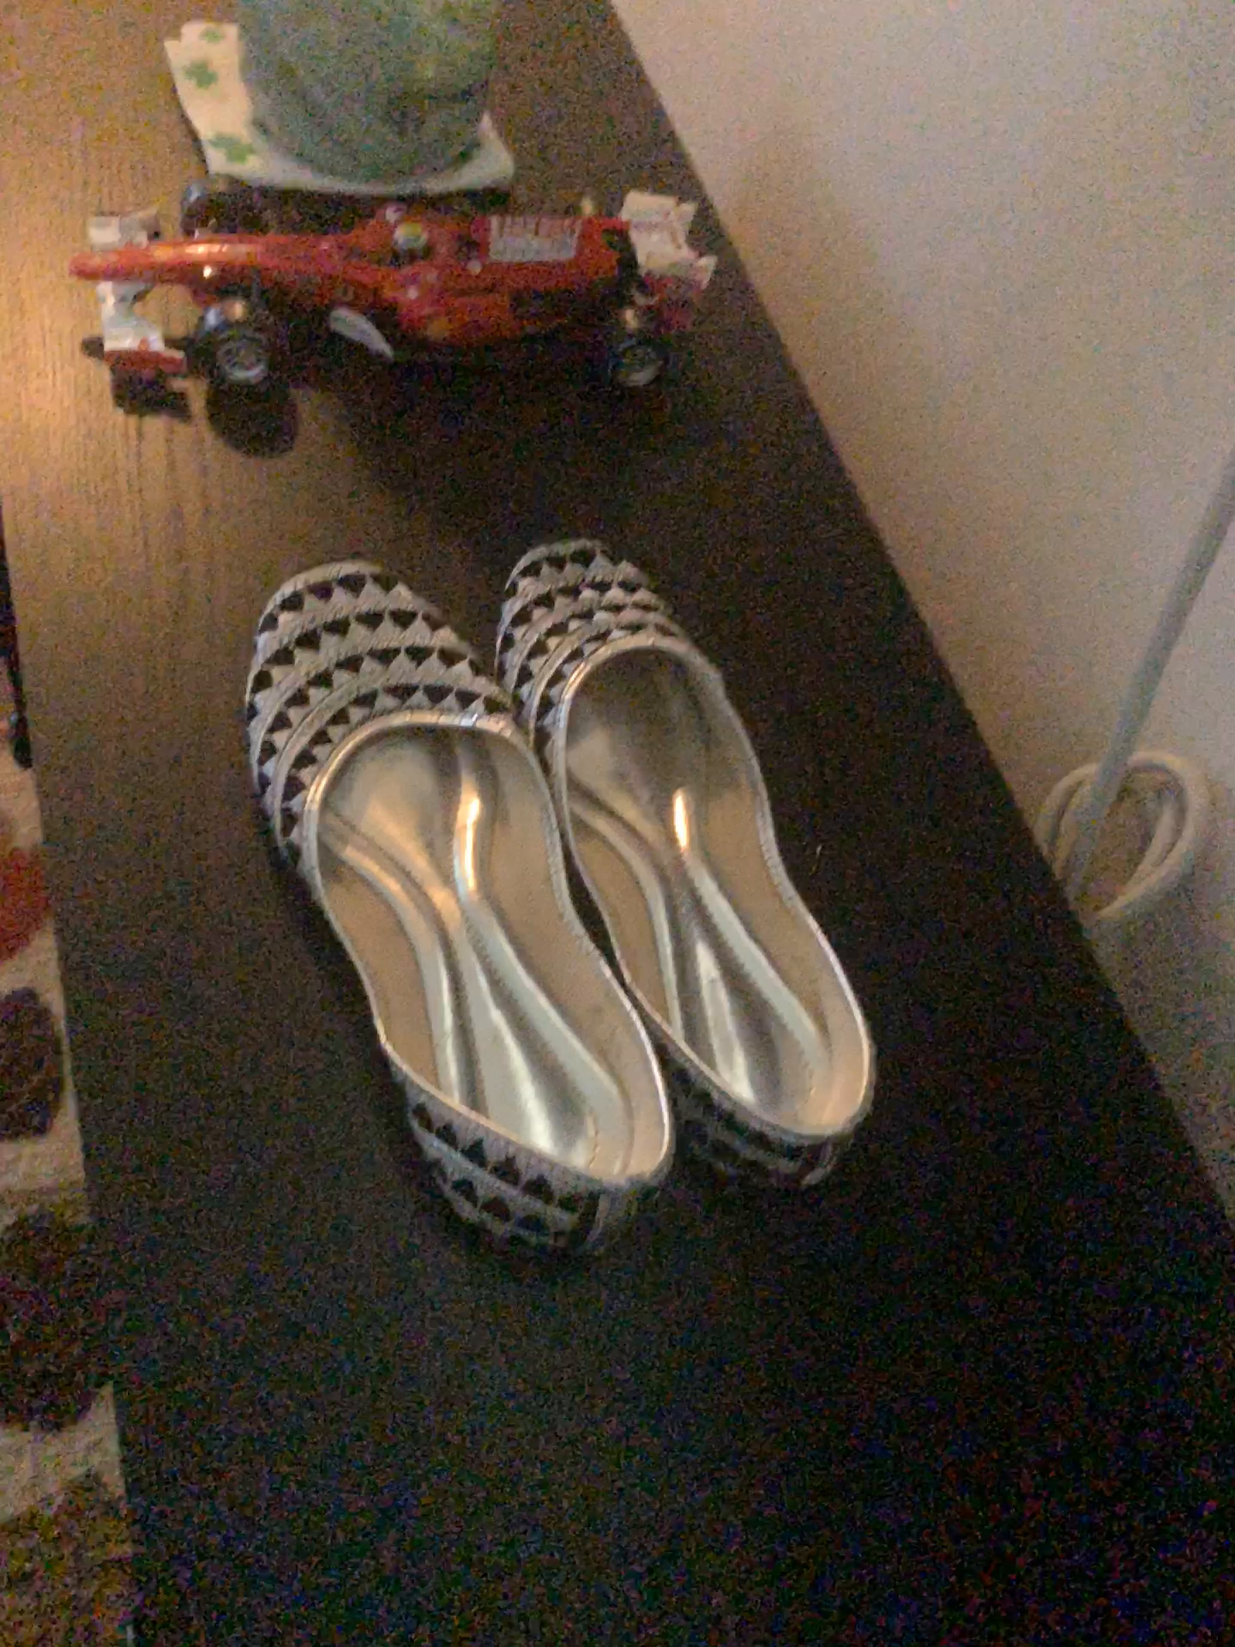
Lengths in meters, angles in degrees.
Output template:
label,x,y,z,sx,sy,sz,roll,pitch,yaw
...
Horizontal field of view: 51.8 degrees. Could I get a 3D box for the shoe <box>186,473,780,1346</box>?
label,x,y,z,sx,sy,sz,roll,pitch,yaw
shoe,-0.058,0.013,0.420,0.096,0.069,0.271,-14,65,-25

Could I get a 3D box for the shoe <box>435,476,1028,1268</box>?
label,x,y,z,sx,sy,sz,roll,pitch,yaw
shoe,0.027,0.003,0.458,0.096,0.069,0.271,-12,64,-25
